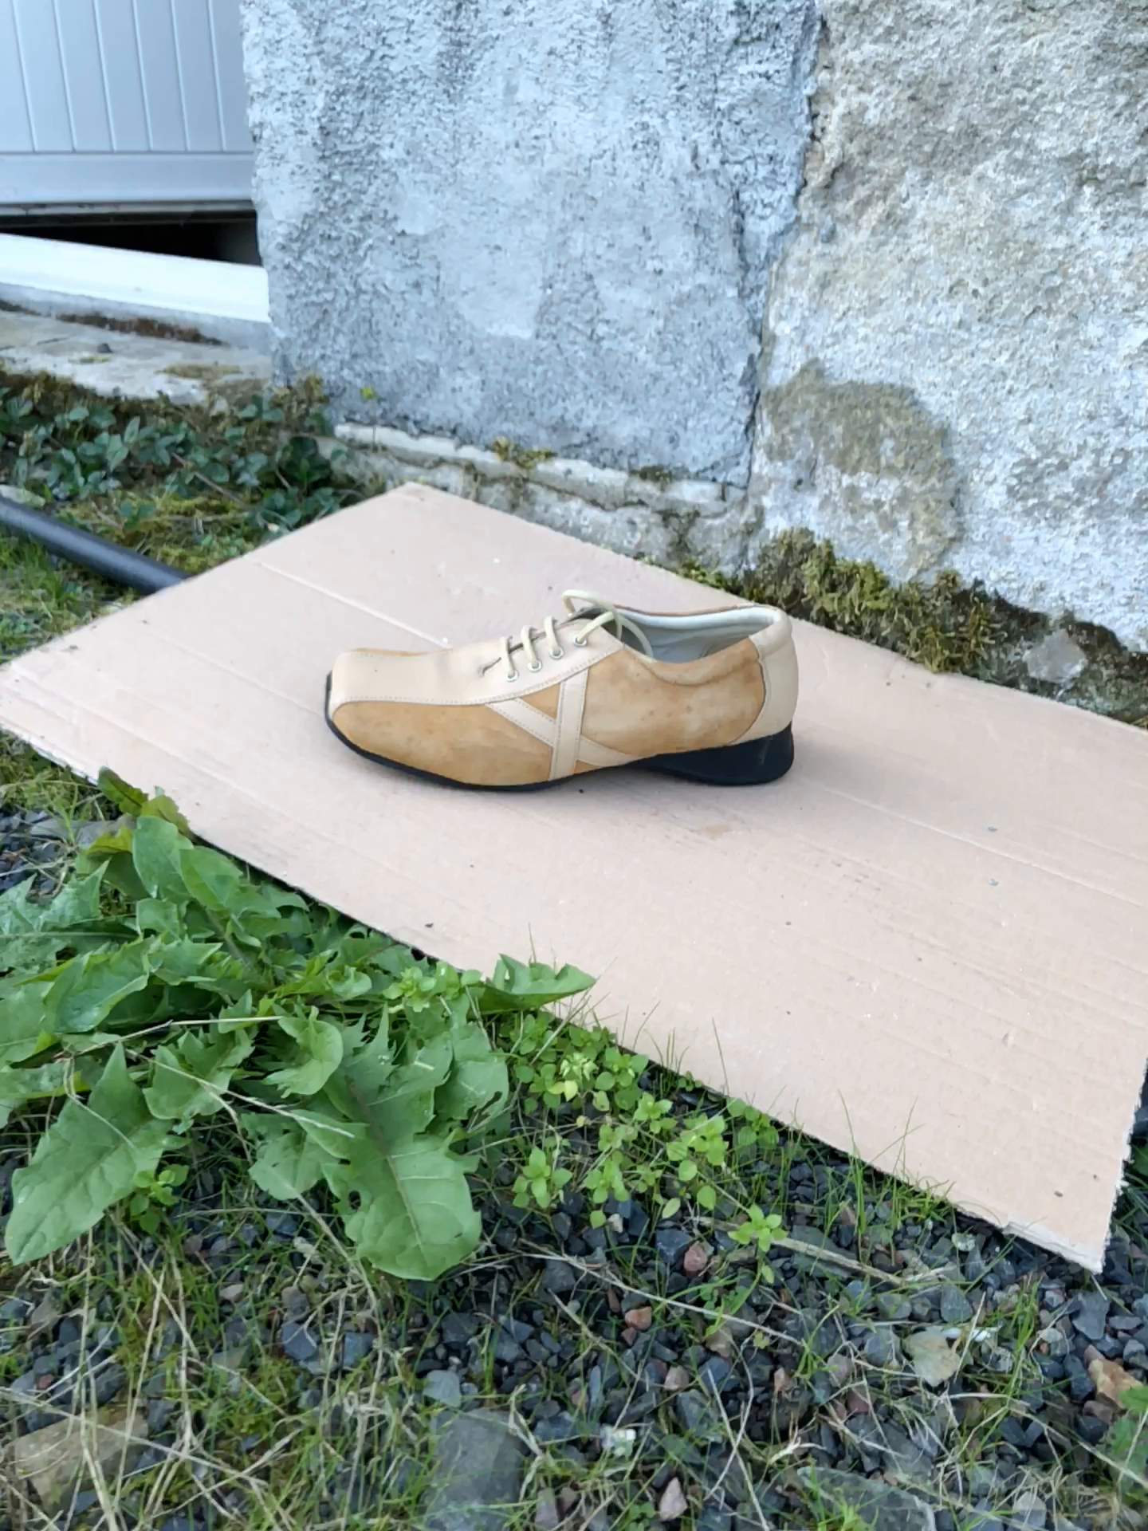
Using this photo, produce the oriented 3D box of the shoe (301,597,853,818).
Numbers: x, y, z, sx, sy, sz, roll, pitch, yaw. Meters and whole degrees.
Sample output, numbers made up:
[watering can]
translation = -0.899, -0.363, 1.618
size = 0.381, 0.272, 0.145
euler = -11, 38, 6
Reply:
[shoe]
translation = 0.001, -0.033, 0.681
size = 0.270, 0.080, 0.101
euler = 1, 29, -2
